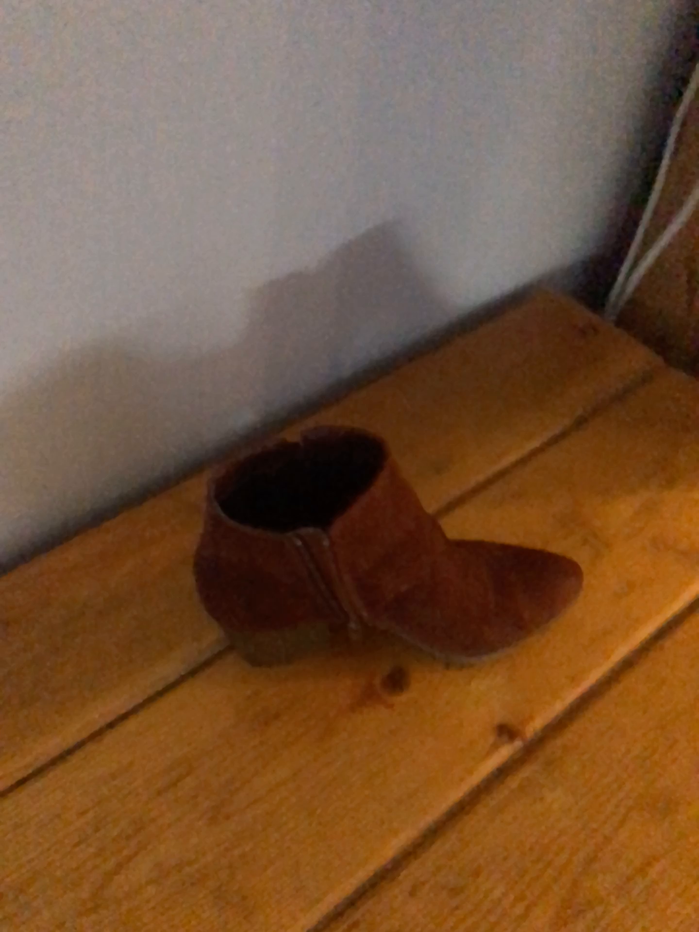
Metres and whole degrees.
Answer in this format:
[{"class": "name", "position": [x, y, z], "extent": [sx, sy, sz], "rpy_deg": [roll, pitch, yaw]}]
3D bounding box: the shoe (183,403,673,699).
[{"class": "shoe", "position": [0.036, 0.055, 0.473], "extent": [0.250, 0.150, 0.090], "rpy_deg": [-4, 49, -5]}]
